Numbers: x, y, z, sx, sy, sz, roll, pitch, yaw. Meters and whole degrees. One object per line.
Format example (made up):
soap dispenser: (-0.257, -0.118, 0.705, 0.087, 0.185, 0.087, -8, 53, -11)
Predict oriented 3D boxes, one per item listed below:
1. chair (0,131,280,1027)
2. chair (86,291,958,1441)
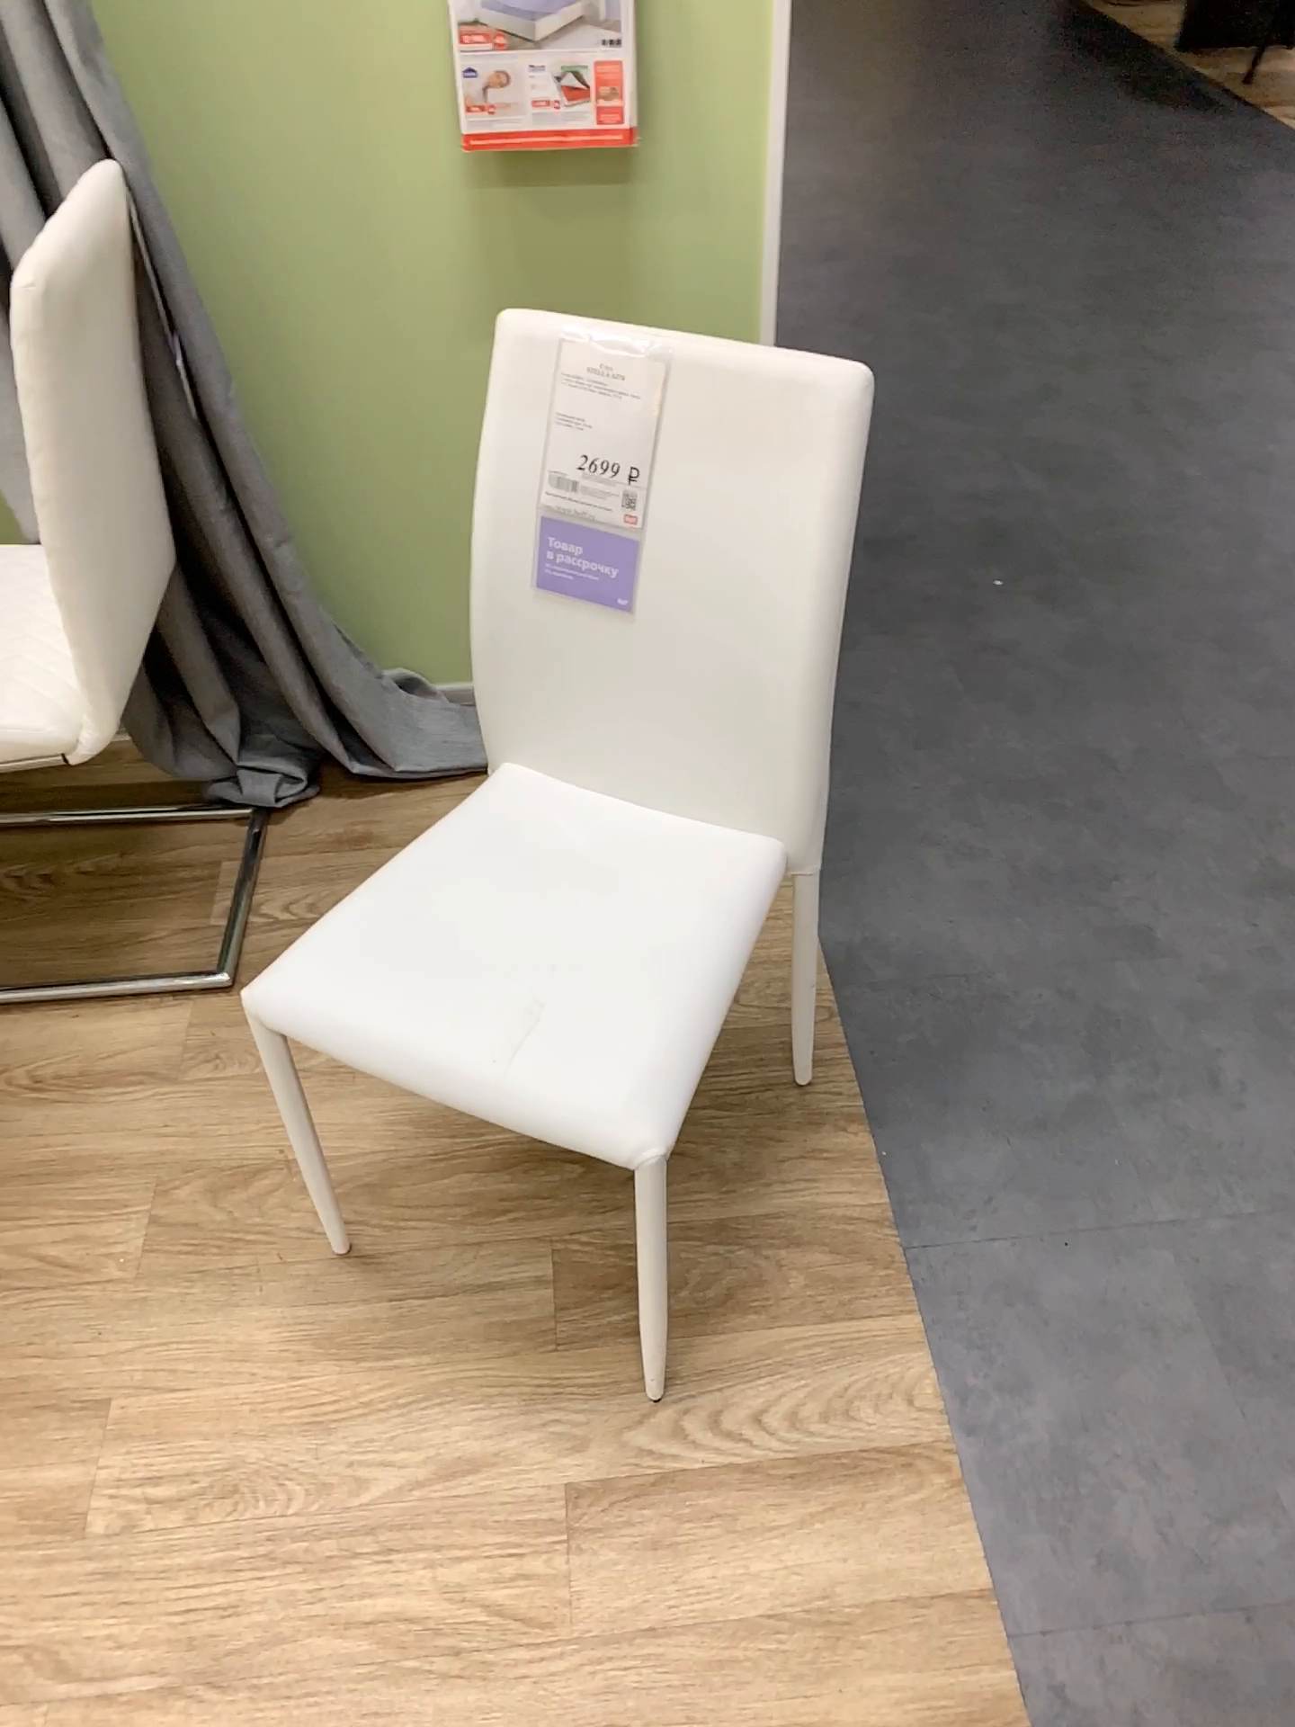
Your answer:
chair: (-0.857, -0.302, 1.623, 0.560, 0.945, 0.452, -4, 43, -3)
chair: (-0.053, 0.028, 1.323, 0.450, 0.925, 0.553, 17, 46, 19)
